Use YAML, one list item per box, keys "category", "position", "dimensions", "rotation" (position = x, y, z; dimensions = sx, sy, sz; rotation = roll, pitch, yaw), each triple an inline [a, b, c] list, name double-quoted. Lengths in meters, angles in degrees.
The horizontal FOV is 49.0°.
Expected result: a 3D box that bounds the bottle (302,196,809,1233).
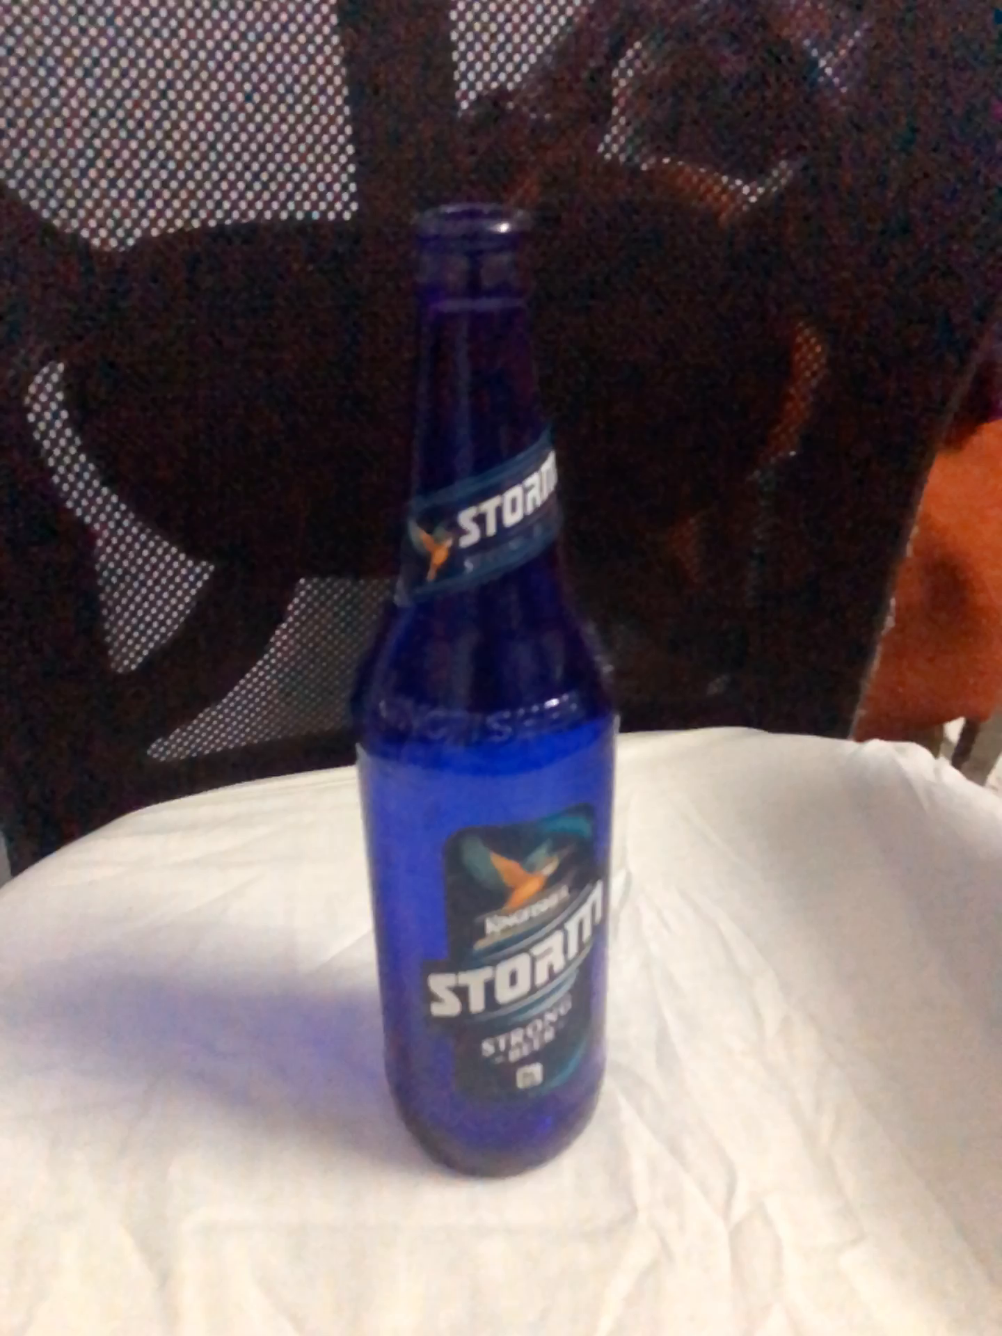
- category: "bottle"
  position: [0.003, 0.026, 0.278]
  dimensions: [0.080, 0.259, 0.070]
  rotation: [-7, 33, -13]
